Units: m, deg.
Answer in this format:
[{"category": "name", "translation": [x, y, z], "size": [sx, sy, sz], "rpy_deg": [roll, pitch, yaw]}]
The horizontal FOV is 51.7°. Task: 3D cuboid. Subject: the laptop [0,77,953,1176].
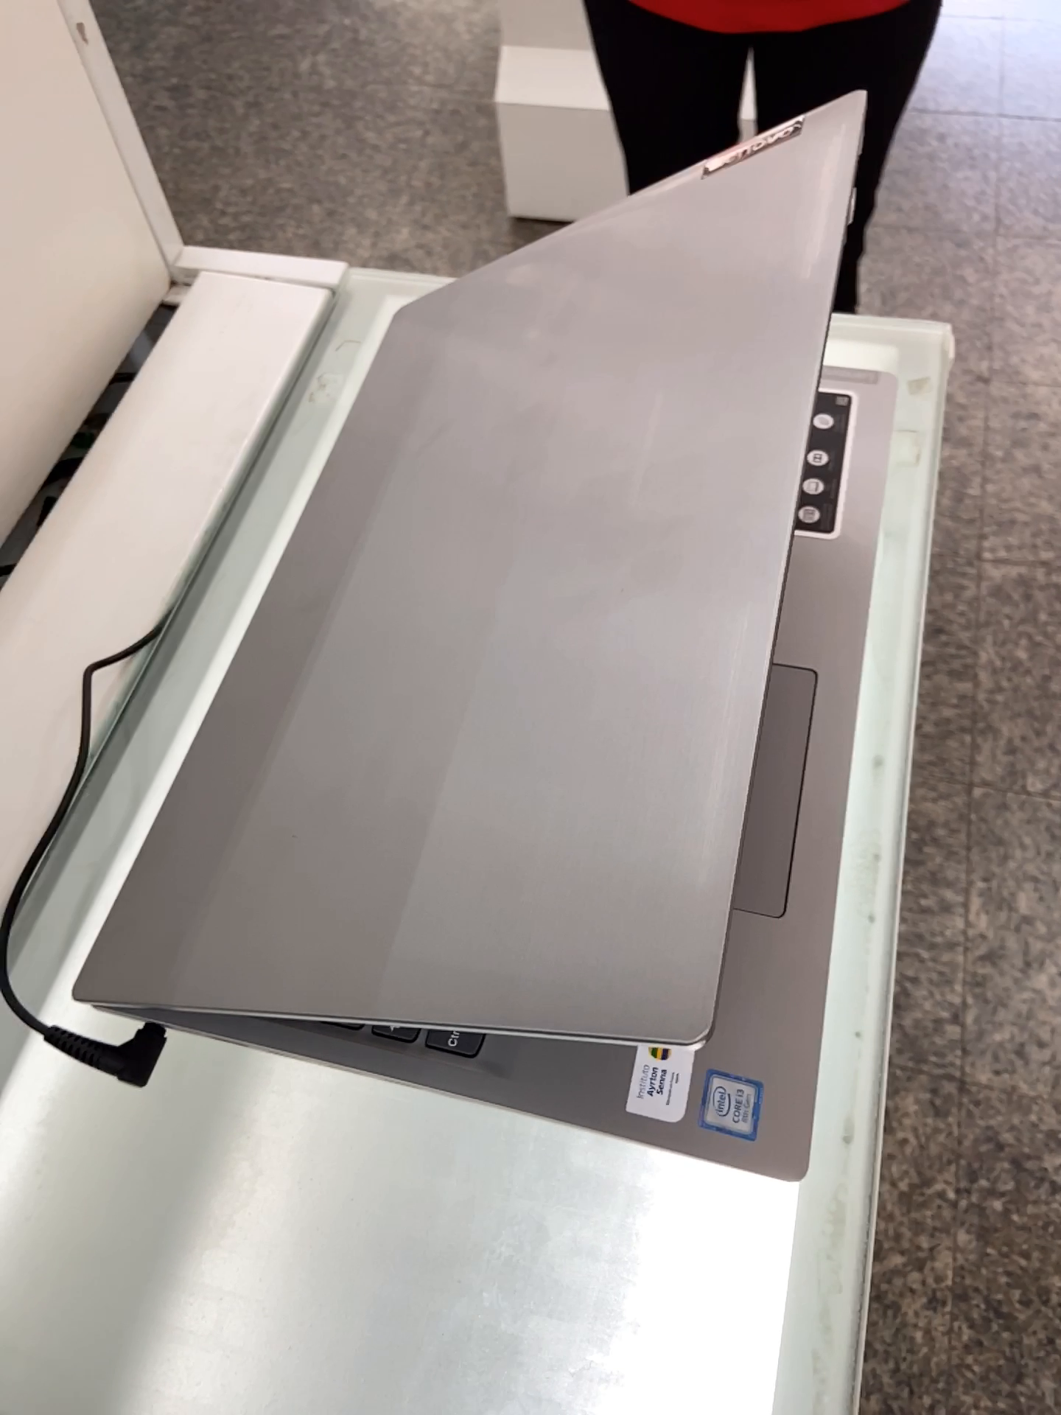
[{"category": "laptop", "translation": [0.002, -0.059, 0.390], "size": [0.239, 0.122, 0.355], "rpy_deg": [10, 59, 11]}]
